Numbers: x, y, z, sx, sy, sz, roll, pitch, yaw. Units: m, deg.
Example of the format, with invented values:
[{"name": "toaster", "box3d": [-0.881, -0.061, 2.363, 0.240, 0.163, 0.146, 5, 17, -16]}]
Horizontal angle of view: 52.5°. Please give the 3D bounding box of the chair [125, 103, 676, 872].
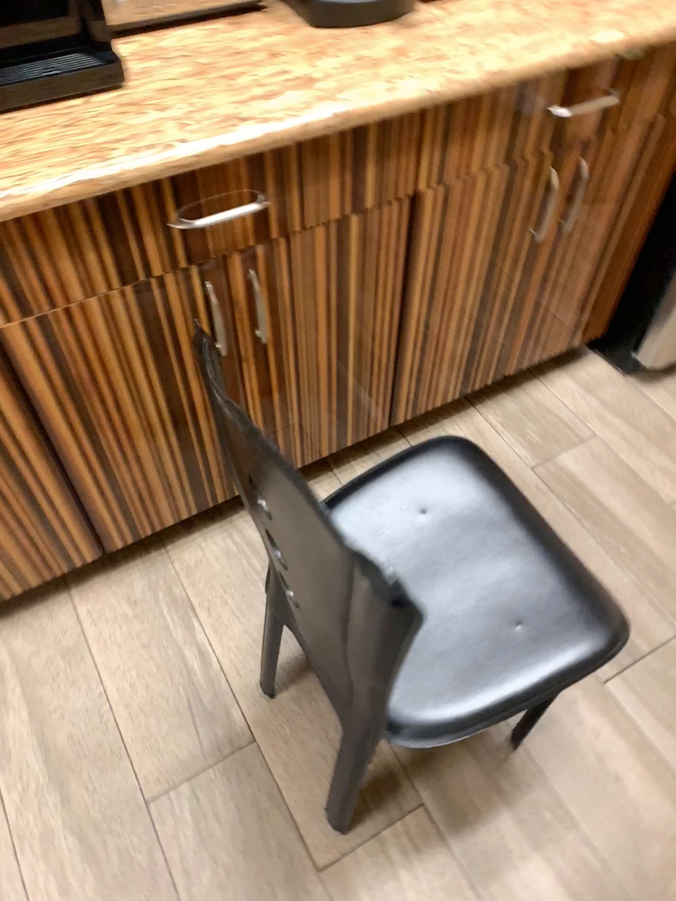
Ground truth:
[{"name": "chair", "box3d": [0.117, 0.148, 0.943, 0.474, 0.943, 0.463, -23, 56, -19]}]
